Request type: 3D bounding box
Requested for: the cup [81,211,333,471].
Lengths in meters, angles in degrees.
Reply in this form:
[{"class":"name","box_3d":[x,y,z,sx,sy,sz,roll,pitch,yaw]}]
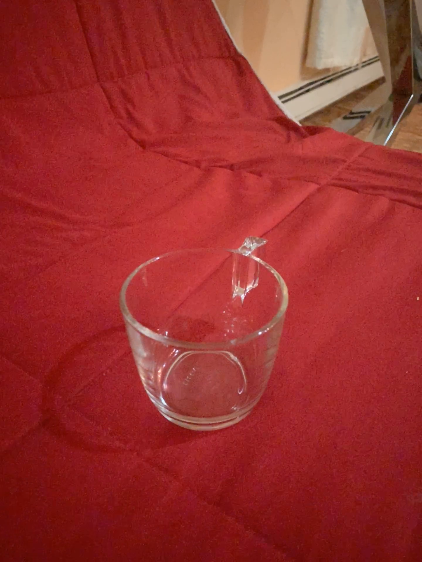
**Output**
[{"class":"cup","box_3d":[0.003,0.023,0.254,0.089,0.069,0.117,20,40,24]}]
